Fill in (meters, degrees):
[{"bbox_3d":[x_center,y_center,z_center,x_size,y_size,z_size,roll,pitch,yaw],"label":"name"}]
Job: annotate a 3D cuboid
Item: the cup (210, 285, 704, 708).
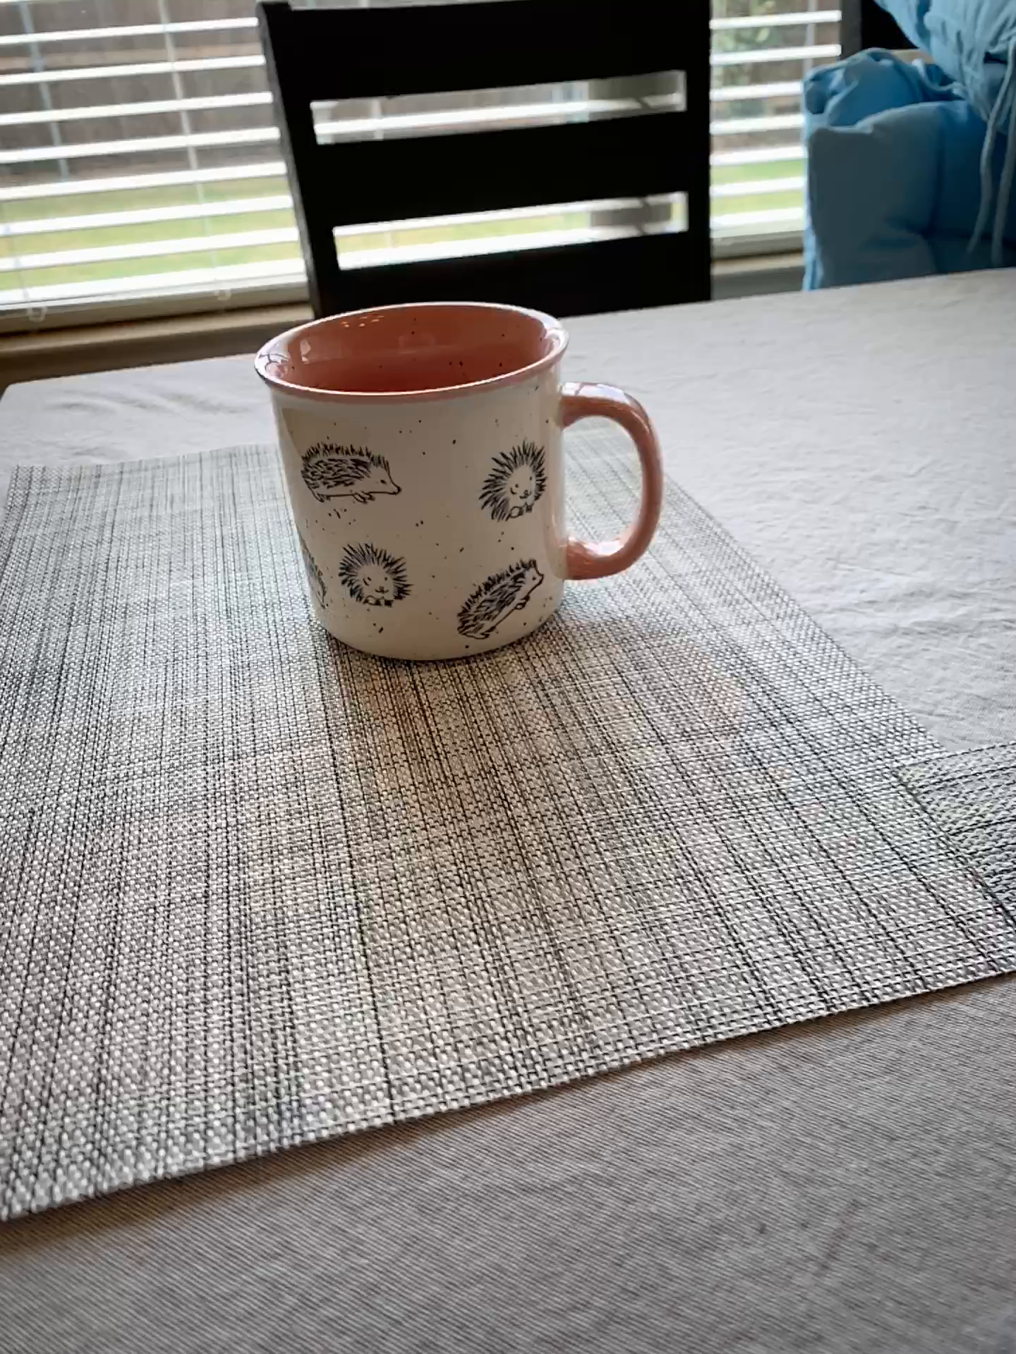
[{"bbox_3d":[-0.018,-0.074,0.396,0.150,0.106,0.121,-6,33,-4],"label":"cup"}]
